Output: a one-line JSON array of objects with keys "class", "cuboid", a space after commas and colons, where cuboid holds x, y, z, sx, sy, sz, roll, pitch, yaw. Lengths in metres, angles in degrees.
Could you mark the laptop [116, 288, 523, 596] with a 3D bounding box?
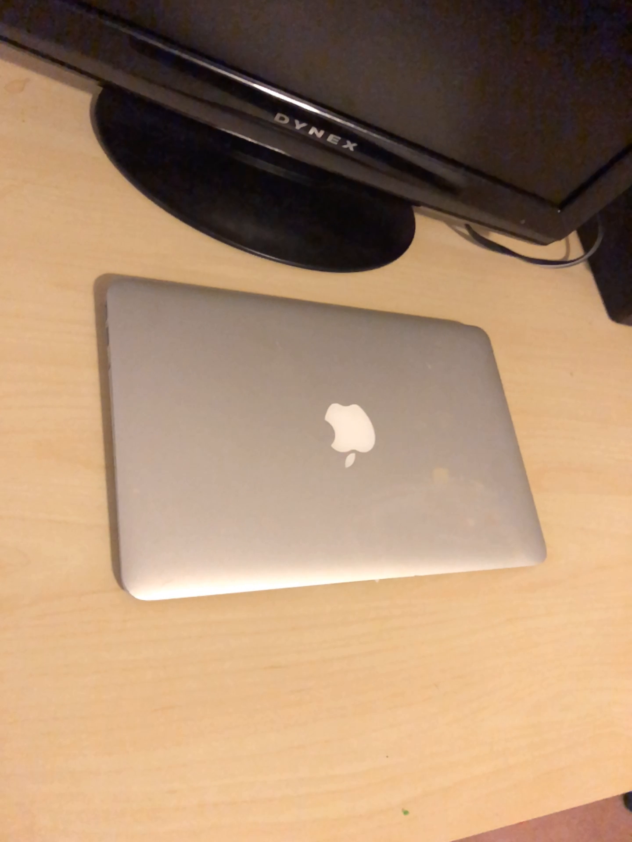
[{"class": "laptop", "cuboid": [0.013, 0.010, 0.458, 0.279, 0.005, 0.181, 2, 67, -30]}]
